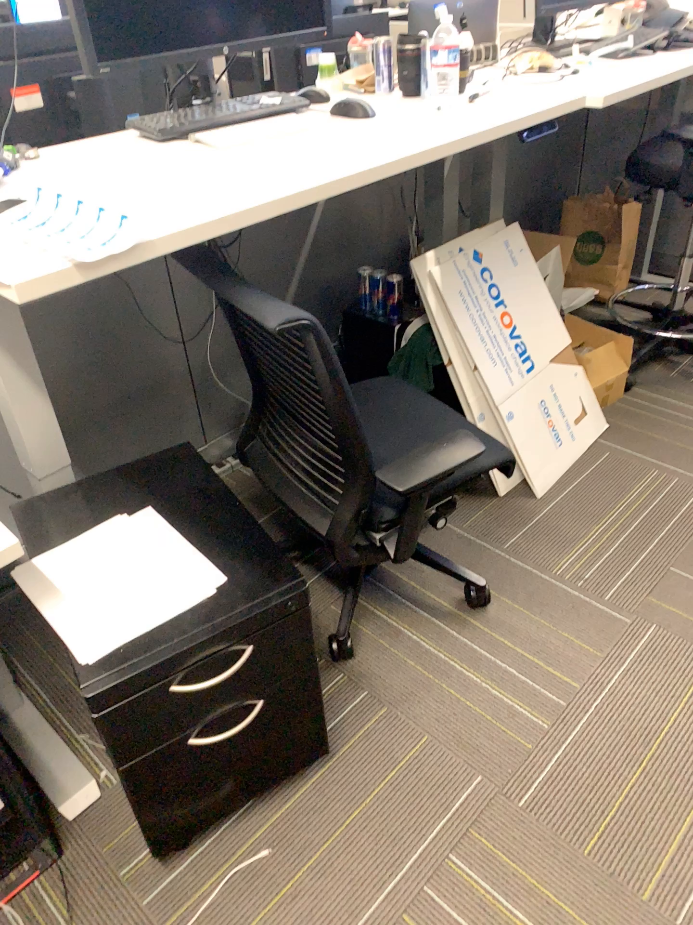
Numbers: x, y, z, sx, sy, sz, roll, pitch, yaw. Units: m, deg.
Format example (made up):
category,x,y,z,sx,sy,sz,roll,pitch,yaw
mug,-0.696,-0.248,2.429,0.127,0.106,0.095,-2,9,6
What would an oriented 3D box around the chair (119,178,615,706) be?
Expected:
category,x,y,z,sx,sy,sz,roll,pitch,yaw
chair,0.016,-0.117,1.695,0.720,0.805,0.785,-22,40,-23
